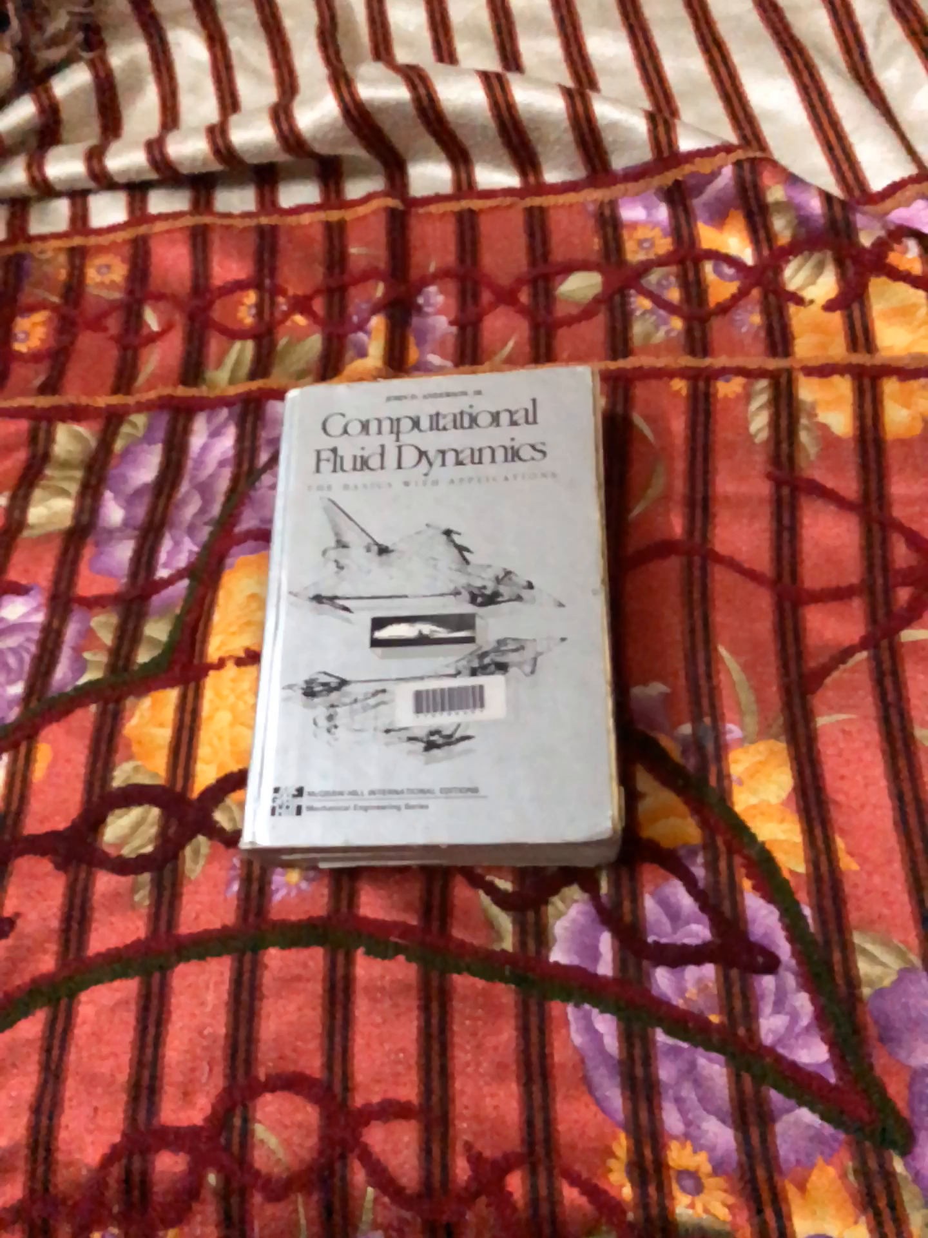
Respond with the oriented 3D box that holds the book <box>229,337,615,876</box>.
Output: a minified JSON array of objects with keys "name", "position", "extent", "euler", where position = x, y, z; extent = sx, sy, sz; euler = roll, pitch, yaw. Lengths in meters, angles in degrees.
[{"name":"book","position":[-0.014,-0.009,0.499],"extent":[0.160,0.060,0.250],"euler":[-2,67,7]}]
